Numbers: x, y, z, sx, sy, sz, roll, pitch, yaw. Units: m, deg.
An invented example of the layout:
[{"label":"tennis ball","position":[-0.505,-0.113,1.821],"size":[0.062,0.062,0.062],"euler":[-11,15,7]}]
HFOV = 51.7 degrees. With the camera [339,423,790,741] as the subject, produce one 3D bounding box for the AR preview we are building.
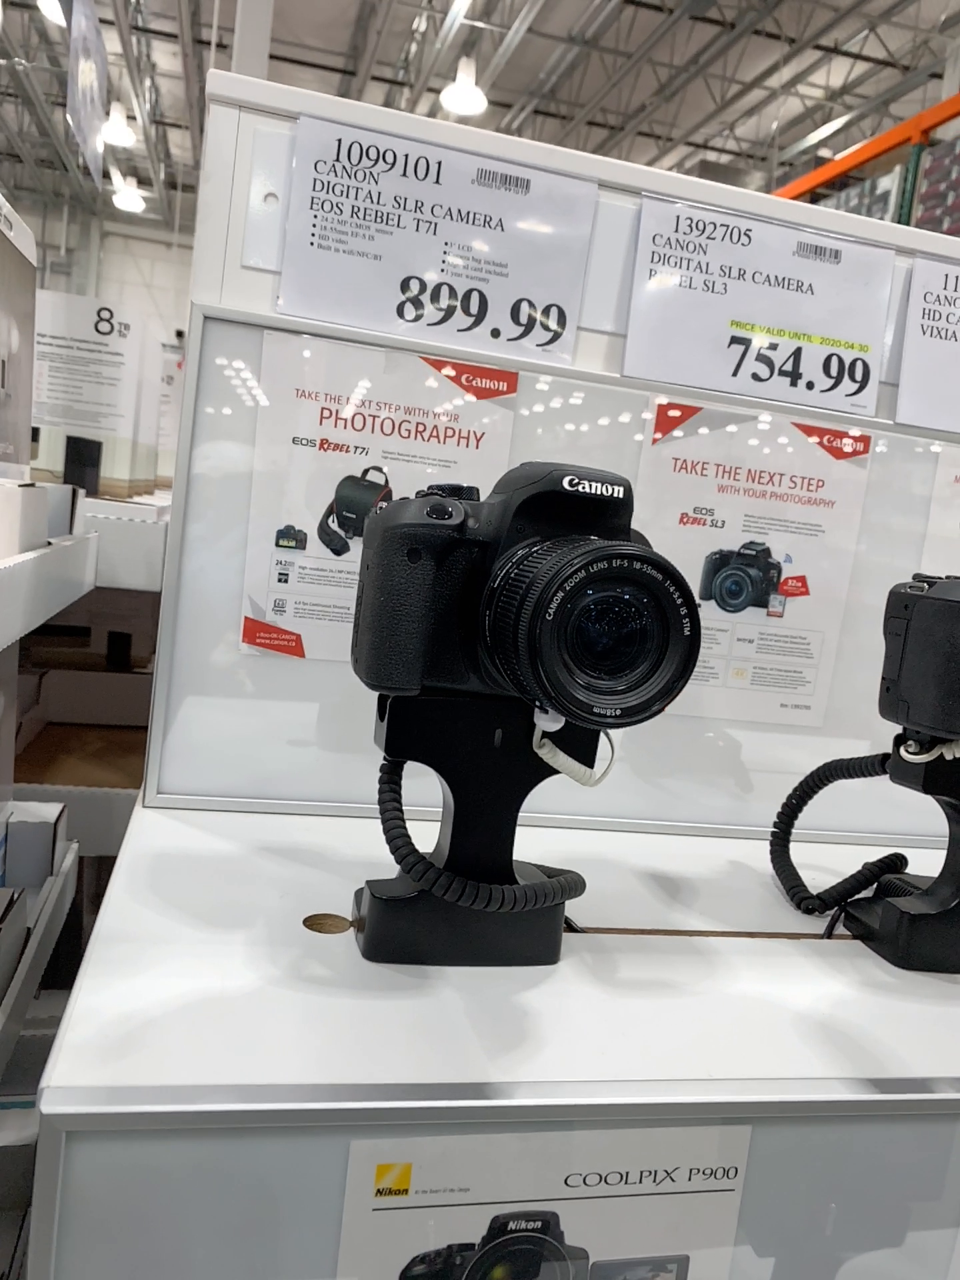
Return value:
[{"label":"camera","position":[0.023,-0.025,0.399],"size":[0.132,0.096,0.129],"euler":[5,7,-18]}]
